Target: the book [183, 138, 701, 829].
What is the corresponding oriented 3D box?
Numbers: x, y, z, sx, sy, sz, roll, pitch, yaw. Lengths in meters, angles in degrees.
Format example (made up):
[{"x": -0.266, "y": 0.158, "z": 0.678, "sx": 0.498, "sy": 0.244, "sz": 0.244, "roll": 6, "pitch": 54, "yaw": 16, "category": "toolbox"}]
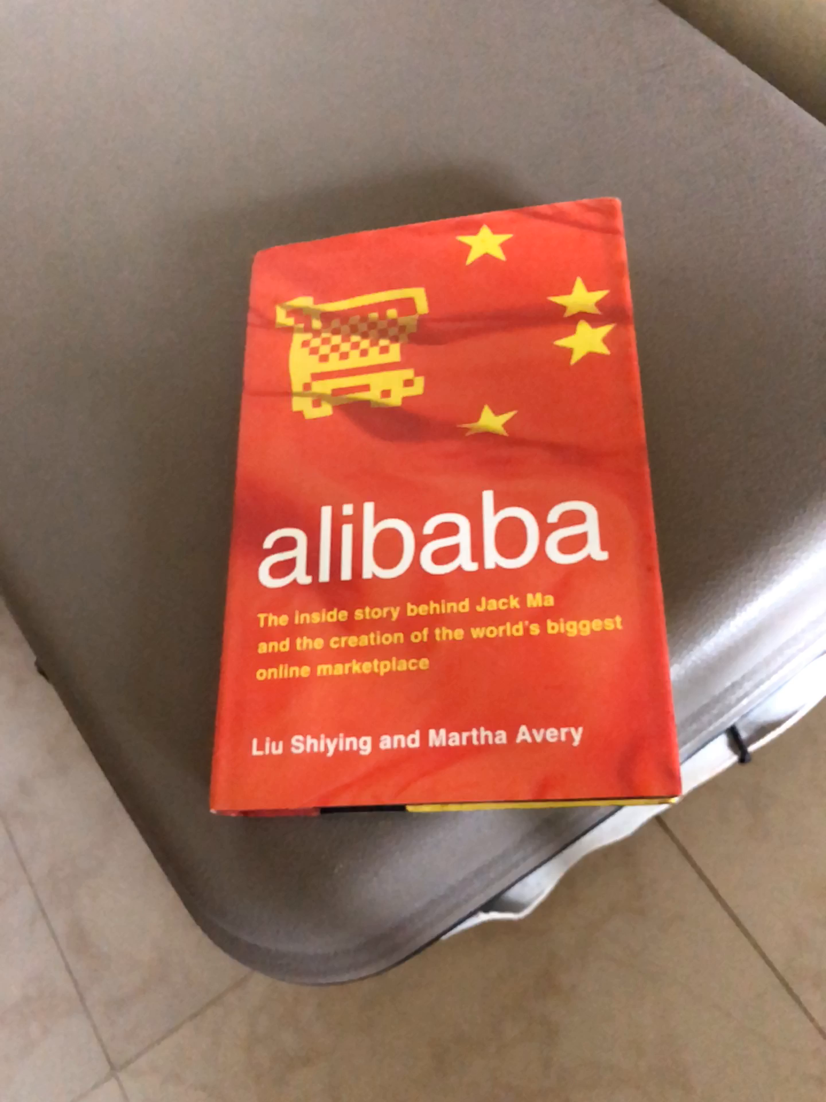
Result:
[{"x": 0.006, "y": -0.034, "z": 0.353, "sx": 0.160, "sy": 0.040, "sz": 0.260, "roll": -4, "pitch": 67, "yaw": 7, "category": "book"}]
